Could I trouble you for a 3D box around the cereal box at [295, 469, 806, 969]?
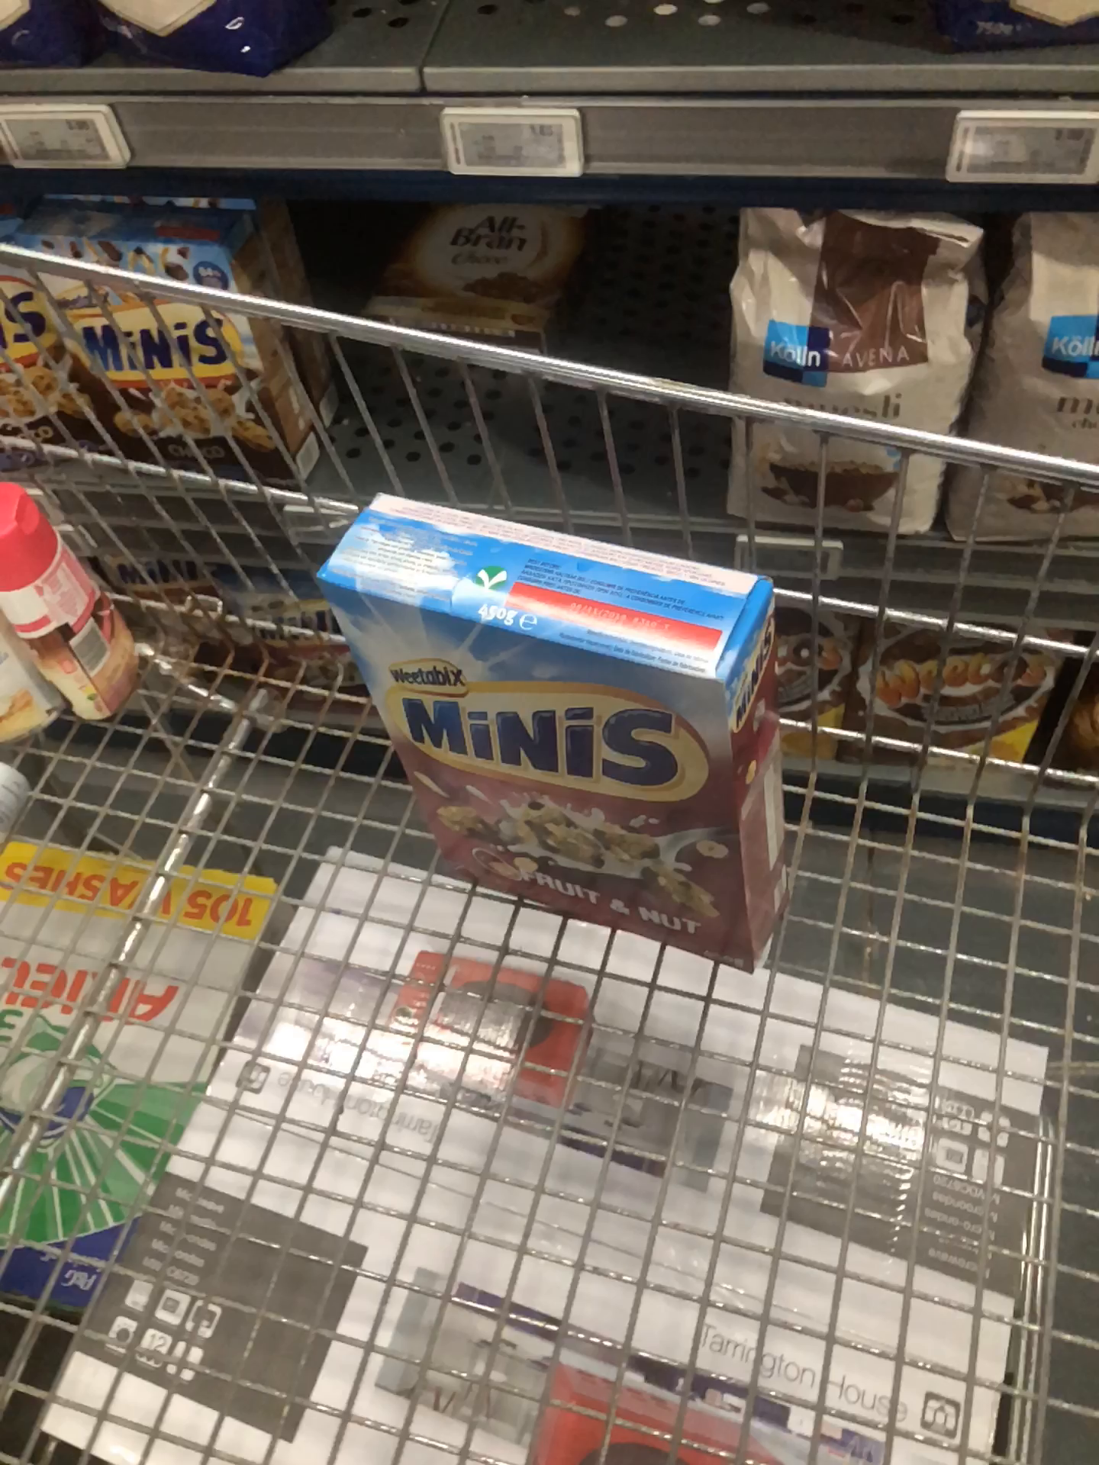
[{"bbox_3d":[0.017,0.002,0.652,0.220,0.259,0.080,15,58,21],"label":"cereal box"}]
